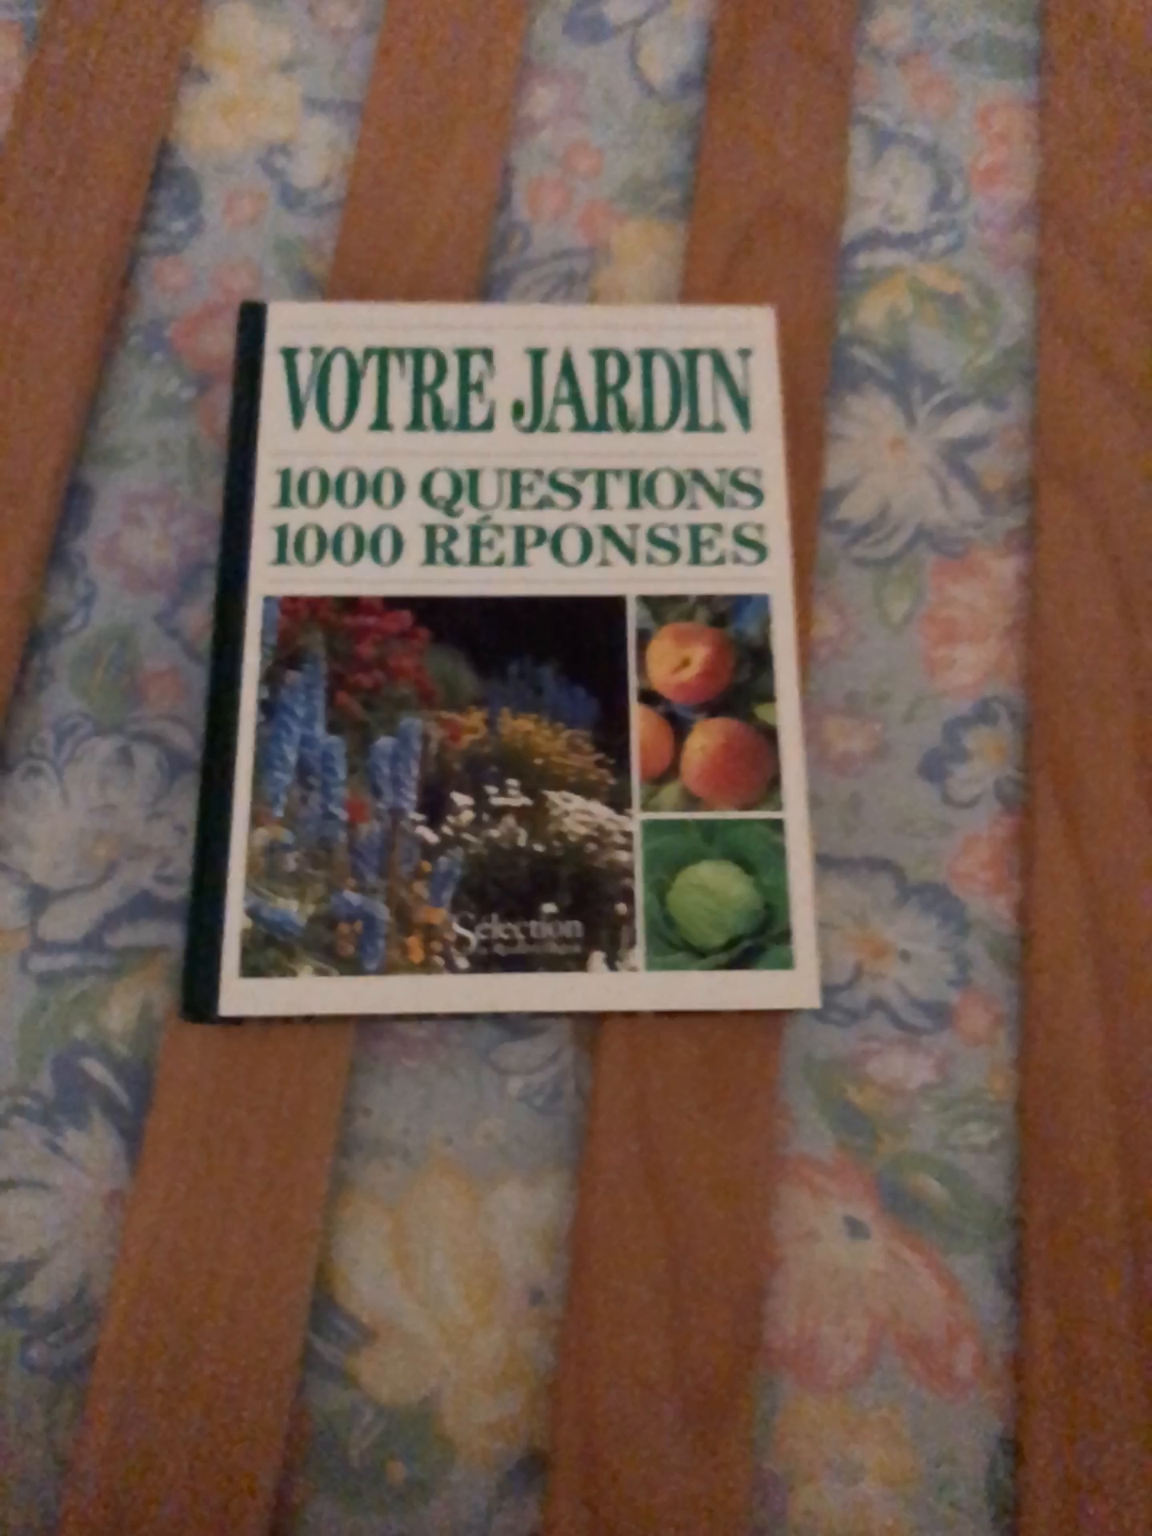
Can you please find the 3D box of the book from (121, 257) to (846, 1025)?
[{"bbox_3d":[-0.028,-0.049,0.454,0.220,0.050,0.270,0,73,-2],"label":"book"}]
